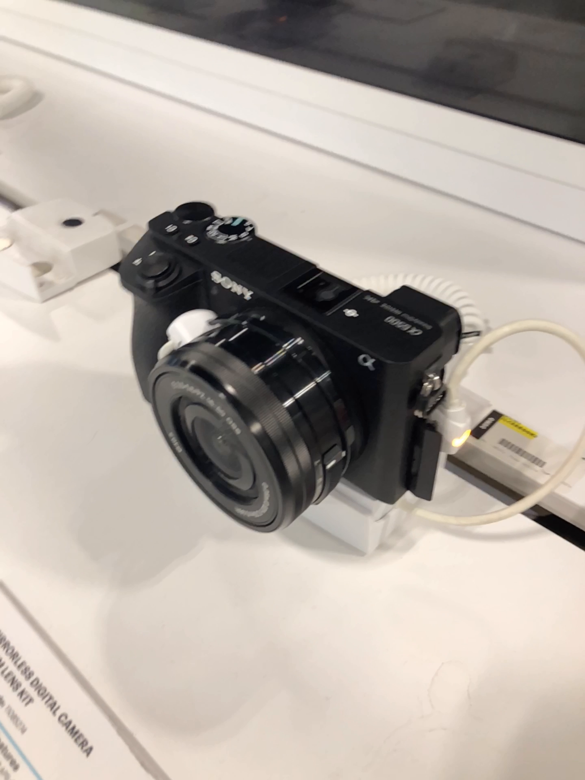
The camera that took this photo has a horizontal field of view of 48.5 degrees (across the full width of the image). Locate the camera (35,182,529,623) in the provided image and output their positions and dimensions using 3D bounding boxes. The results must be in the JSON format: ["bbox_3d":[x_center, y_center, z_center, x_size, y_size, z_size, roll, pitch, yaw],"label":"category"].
[{"bbox_3d":[-0.009,-0.006,0.223,0.140,0.070,0.070,31,50,28],"label":"camera"}]
